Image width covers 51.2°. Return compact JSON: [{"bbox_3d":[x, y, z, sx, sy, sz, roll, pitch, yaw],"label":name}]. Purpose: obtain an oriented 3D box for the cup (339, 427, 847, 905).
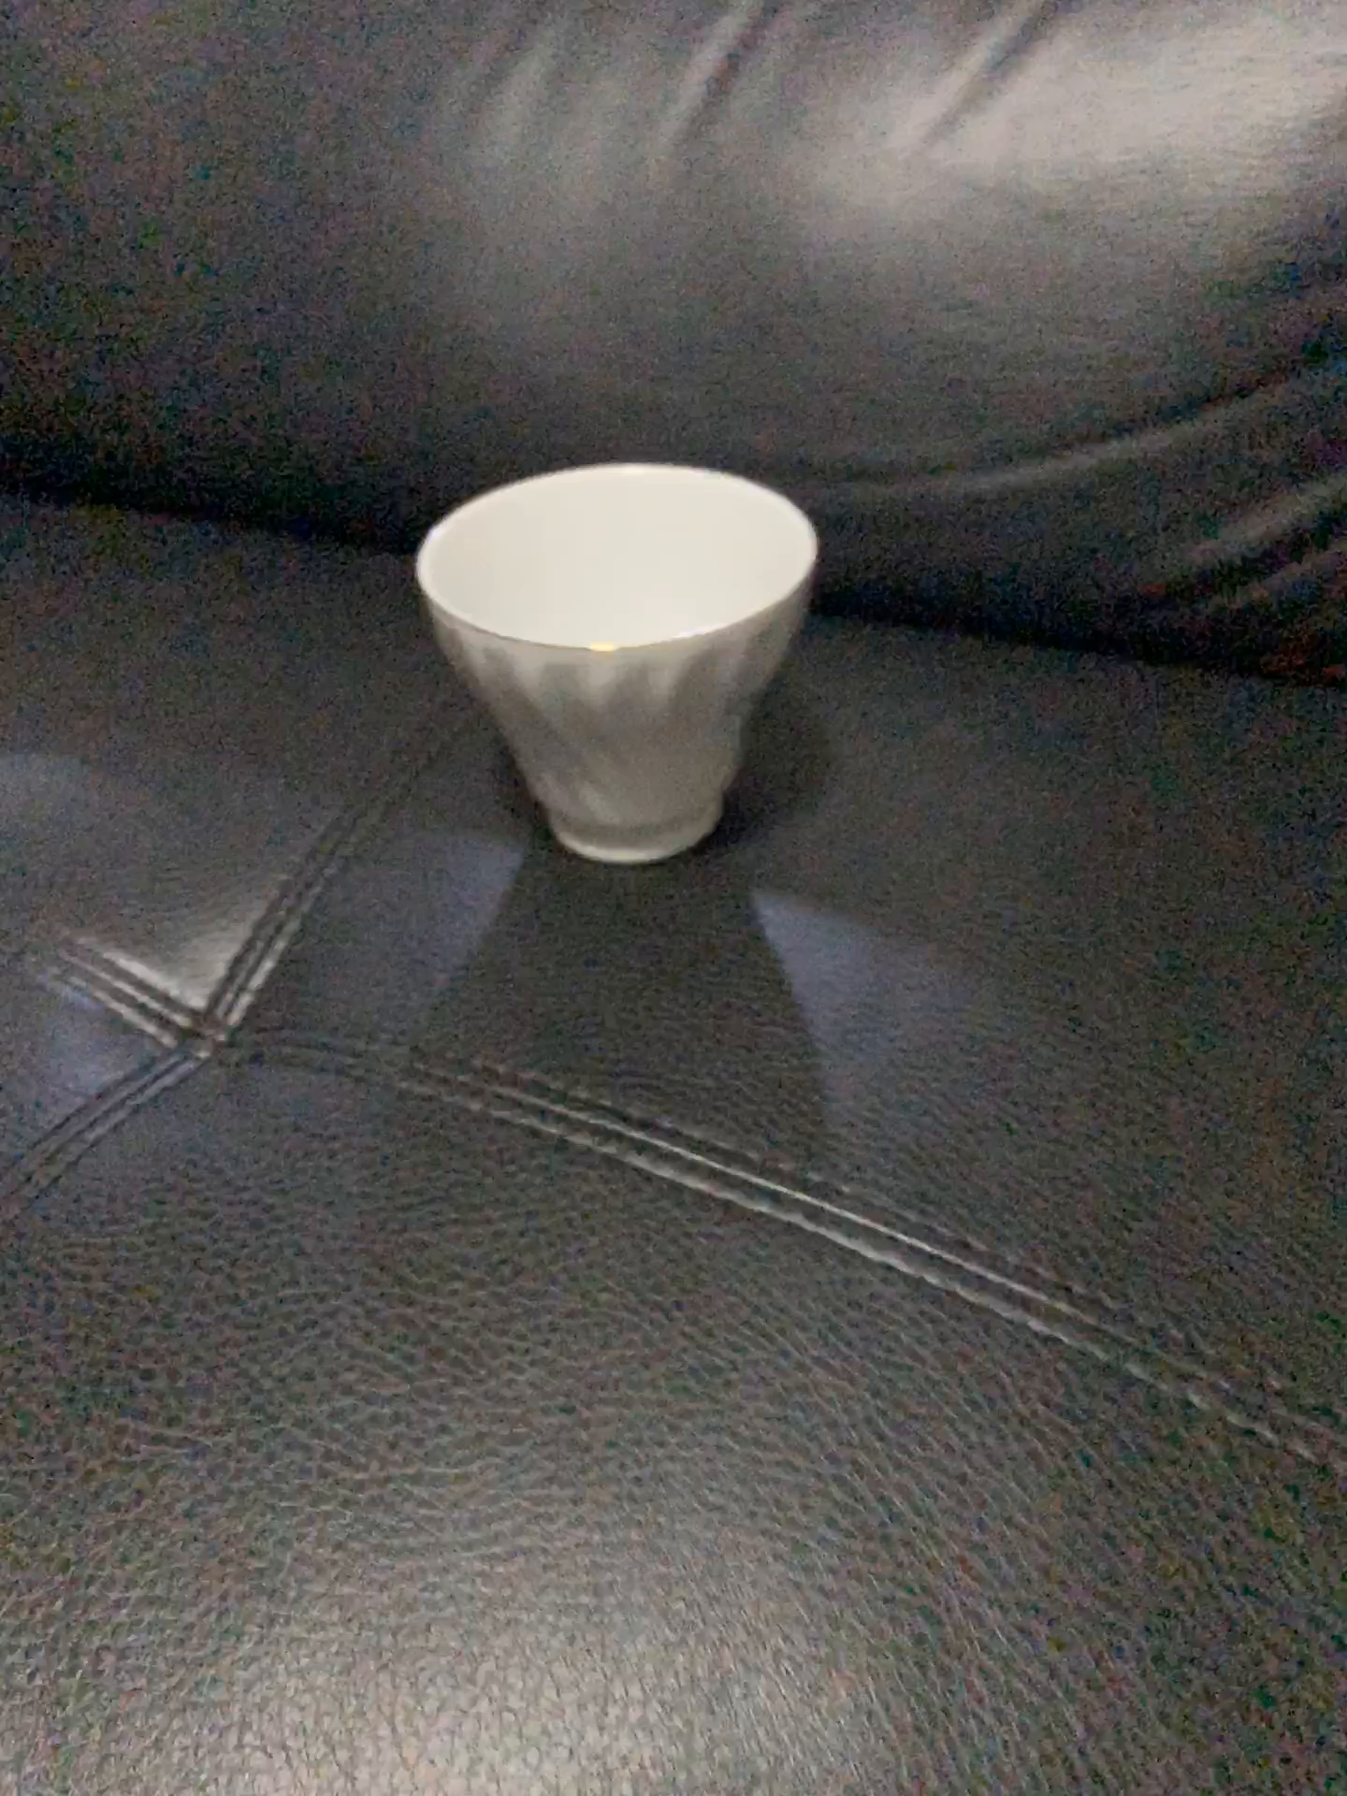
[{"bbox_3d":[-0.011,-0.061,0.335,0.093,0.059,0.115,5,38,7],"label":"cup"}]
